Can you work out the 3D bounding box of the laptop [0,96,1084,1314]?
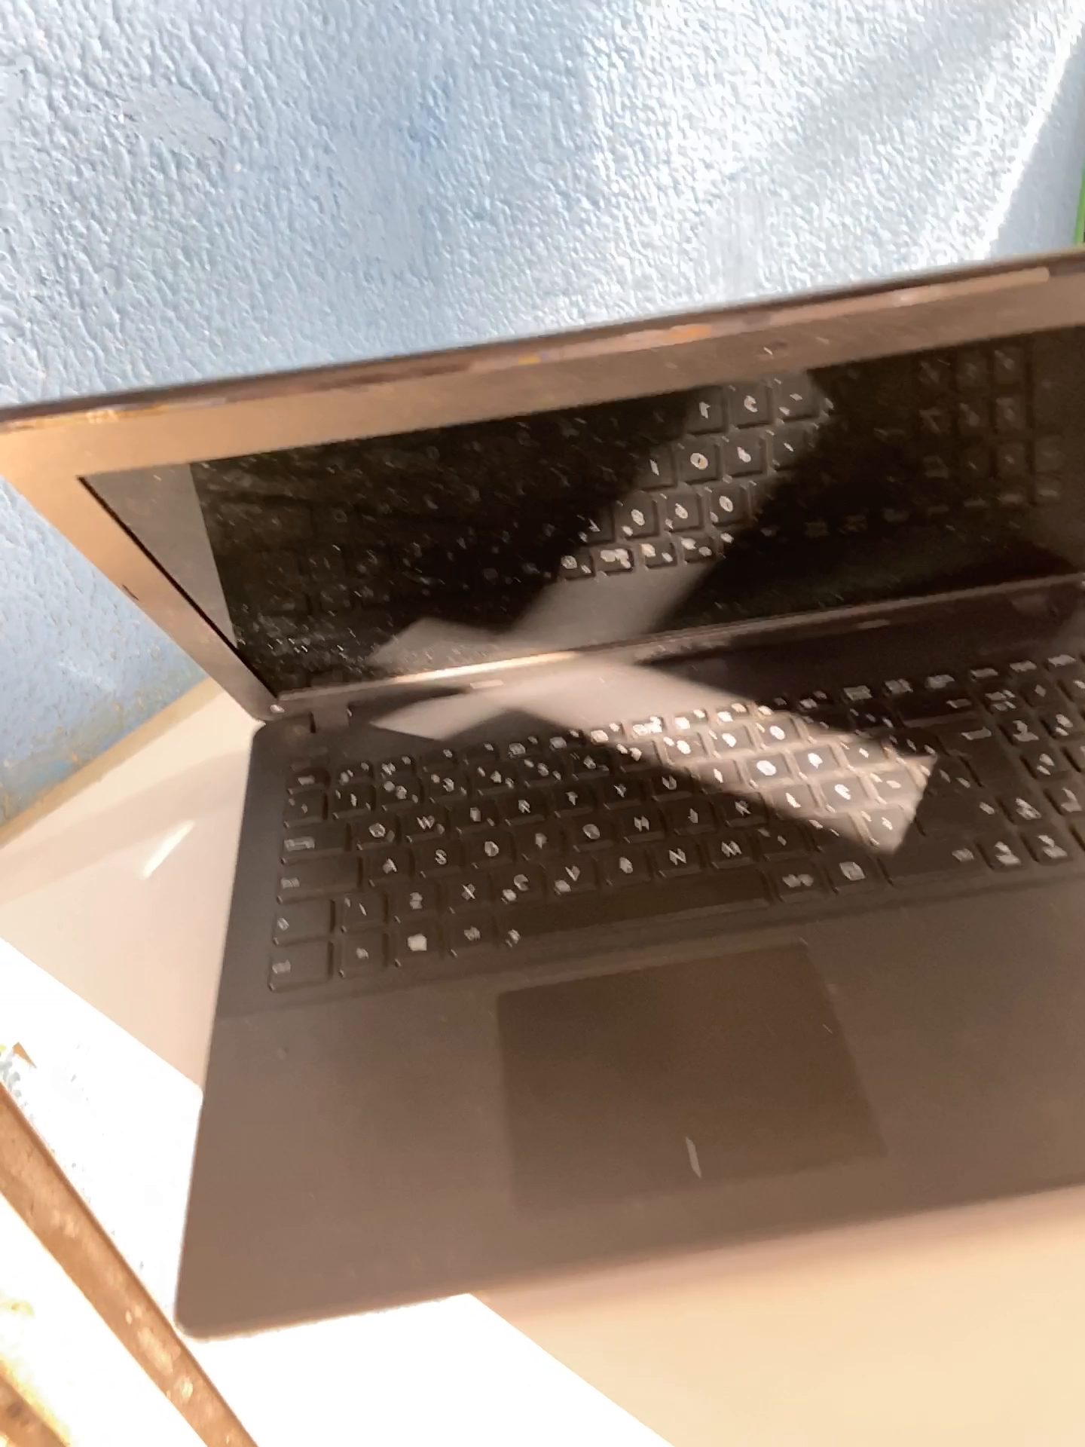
[{"bbox_3d":[0.065,-0.024,0.330,0.373,0.190,0.240,-9,39,0],"label":"laptop"}]
